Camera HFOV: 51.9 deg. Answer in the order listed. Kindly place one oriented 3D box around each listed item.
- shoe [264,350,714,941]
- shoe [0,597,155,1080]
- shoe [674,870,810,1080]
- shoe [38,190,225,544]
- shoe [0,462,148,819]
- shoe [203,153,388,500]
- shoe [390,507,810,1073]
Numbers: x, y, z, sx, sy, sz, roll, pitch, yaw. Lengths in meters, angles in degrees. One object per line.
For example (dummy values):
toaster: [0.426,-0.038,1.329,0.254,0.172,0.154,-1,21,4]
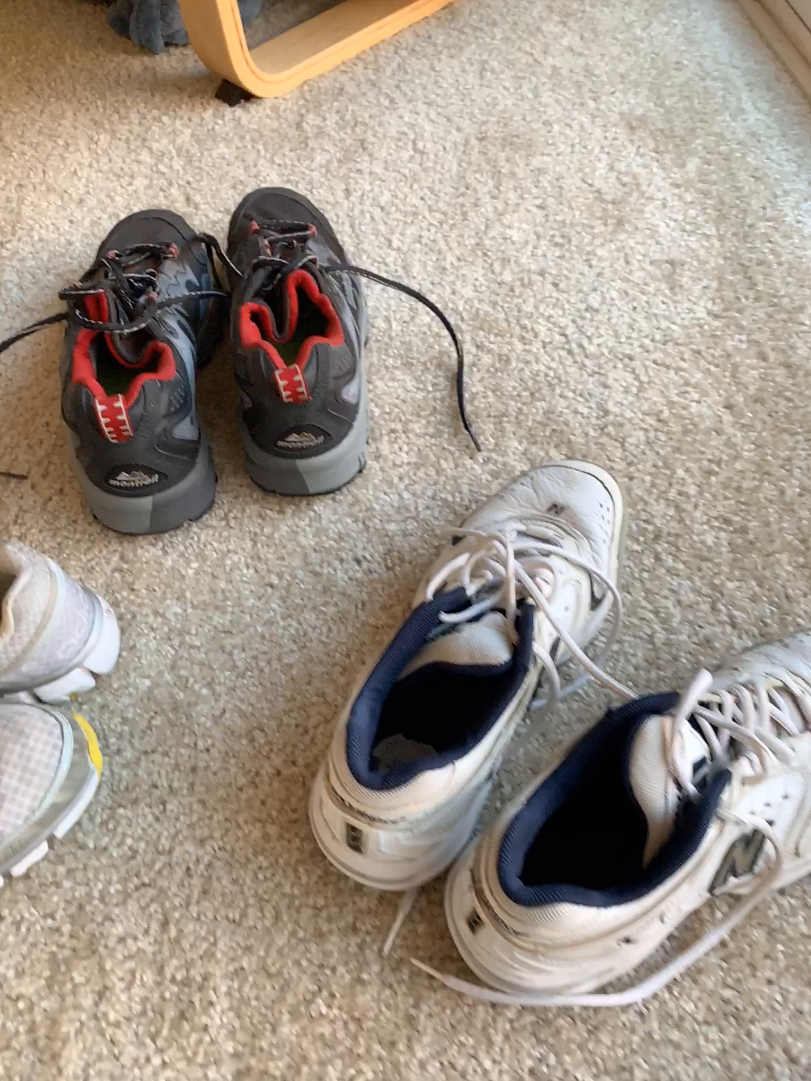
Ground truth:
shoe: [0.063,0.049,0.521,0.120,0.130,0.331,26,58,15]
shoe: [-0.297,0.153,0.447,0.280,0.090,0.110,-24,60,-18]
shoe: [0.303,0.286,0.368,0.340,0.090,0.110,-21,59,-16]
shoe: [-0.201,-0.140,0.625,0.100,0.090,0.271,-7,56,-8]
shoe: [-0.307,0.054,0.491,0.270,0.090,0.110,-15,57,-13]
shoe: [-0.087,-0.170,0.624,0.100,0.090,0.271,-7,56,-8]
shoe: [0.165,0.117,0.444,0.330,0.090,0.120,-26,60,-19]
